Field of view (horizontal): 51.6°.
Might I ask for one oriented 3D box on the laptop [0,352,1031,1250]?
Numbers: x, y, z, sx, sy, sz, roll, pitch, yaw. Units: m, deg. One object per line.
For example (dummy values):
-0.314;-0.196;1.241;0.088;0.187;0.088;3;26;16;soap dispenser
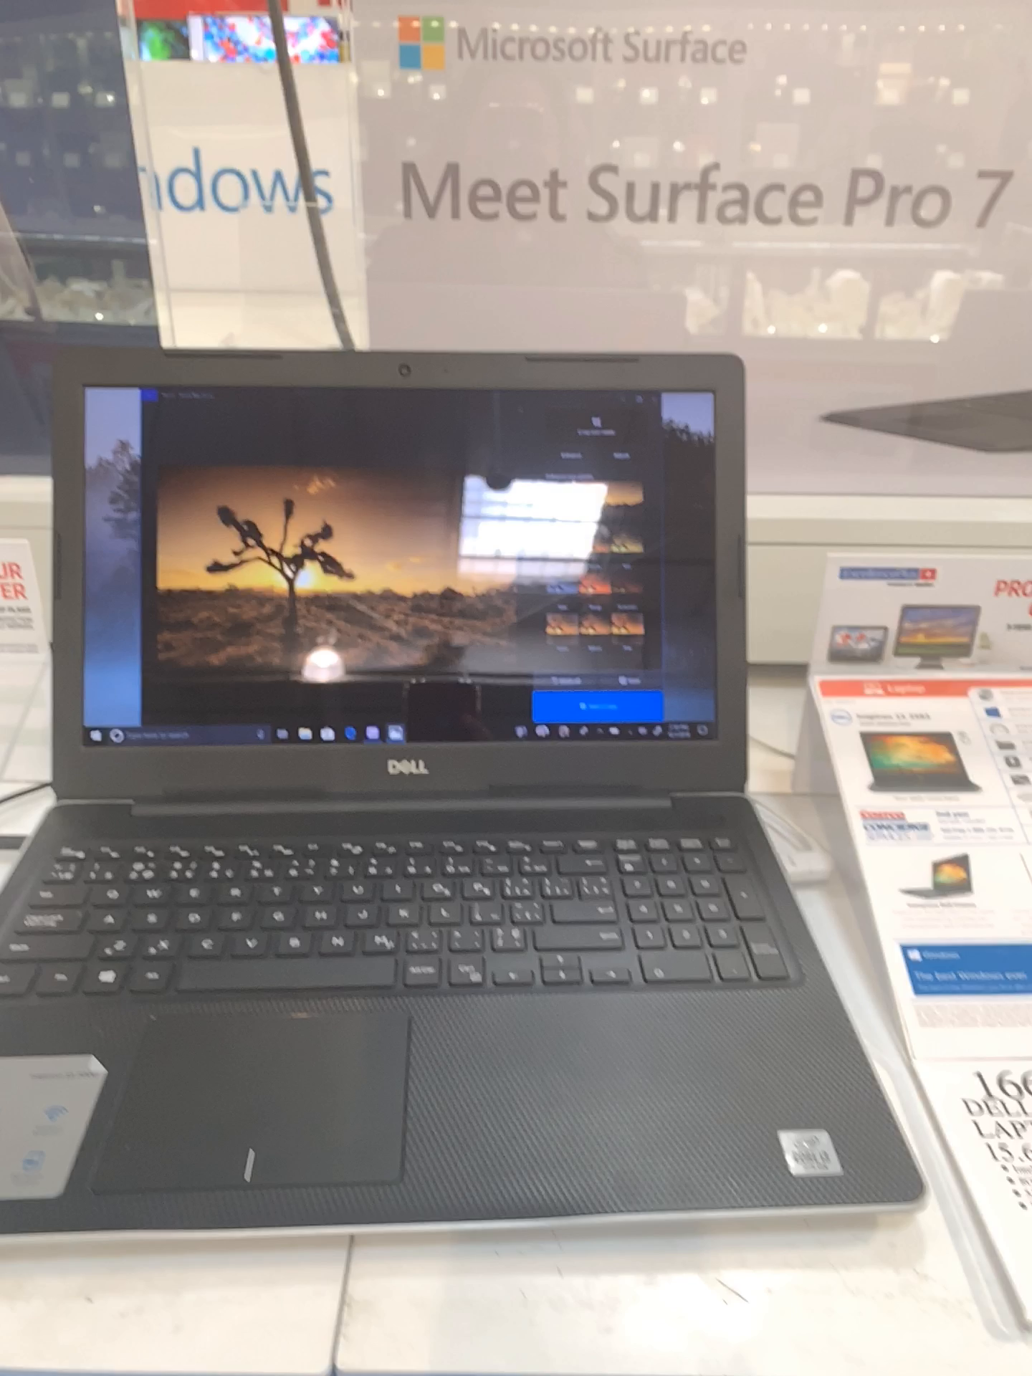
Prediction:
-0.044;0.000;0.442;0.357;0.205;0.343;0;26;-4;laptop
